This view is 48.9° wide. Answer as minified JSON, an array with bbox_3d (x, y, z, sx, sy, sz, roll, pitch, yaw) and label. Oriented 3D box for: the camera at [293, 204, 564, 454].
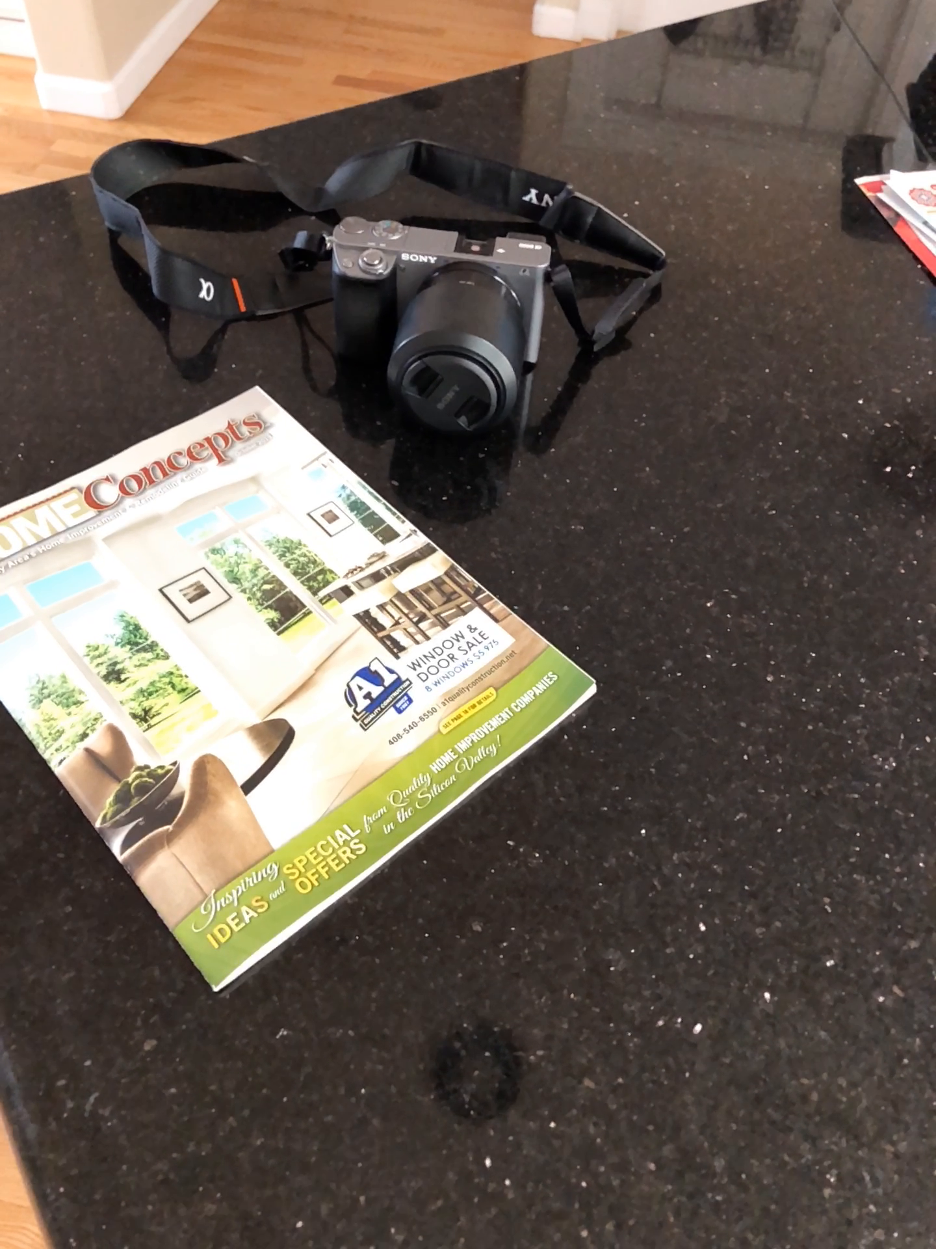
[{"bbox_3d":[-0.017,-0.155,0.536,0.120,0.060,0.110,7,52,3],"label":"camera"}]
